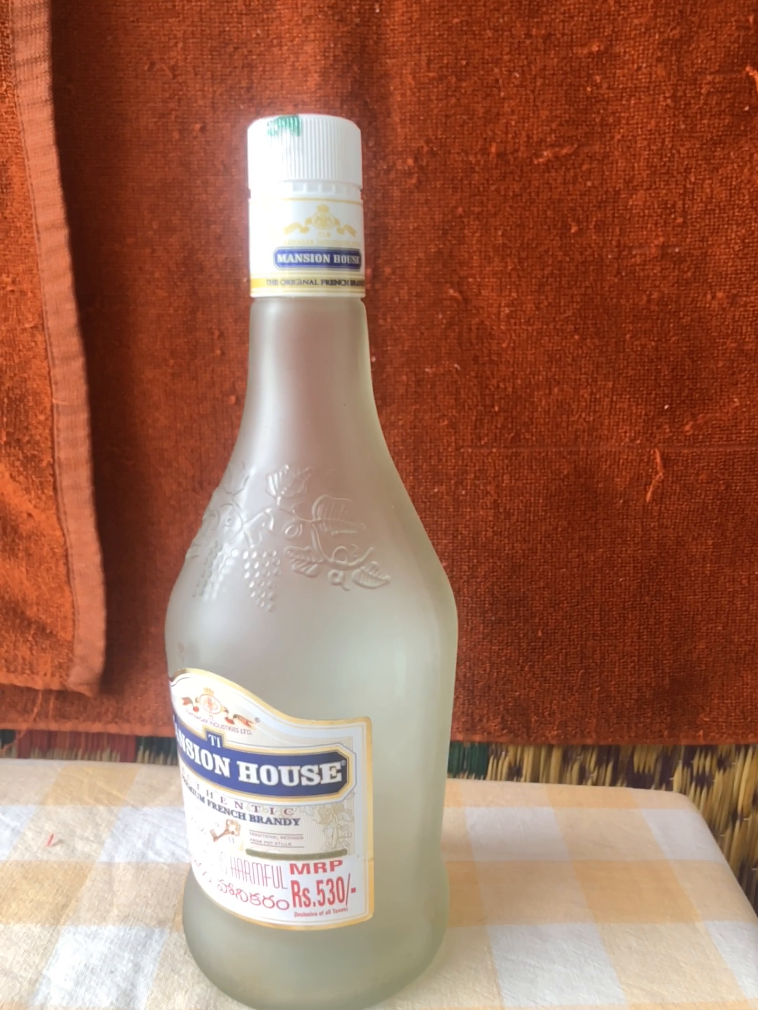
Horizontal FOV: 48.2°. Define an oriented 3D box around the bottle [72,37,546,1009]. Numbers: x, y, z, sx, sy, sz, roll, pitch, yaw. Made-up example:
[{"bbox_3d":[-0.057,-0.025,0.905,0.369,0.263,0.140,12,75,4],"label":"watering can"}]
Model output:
[{"bbox_3d":[-0.020,0.014,0.256,0.090,0.249,0.090,2,13,0],"label":"bottle"}]
